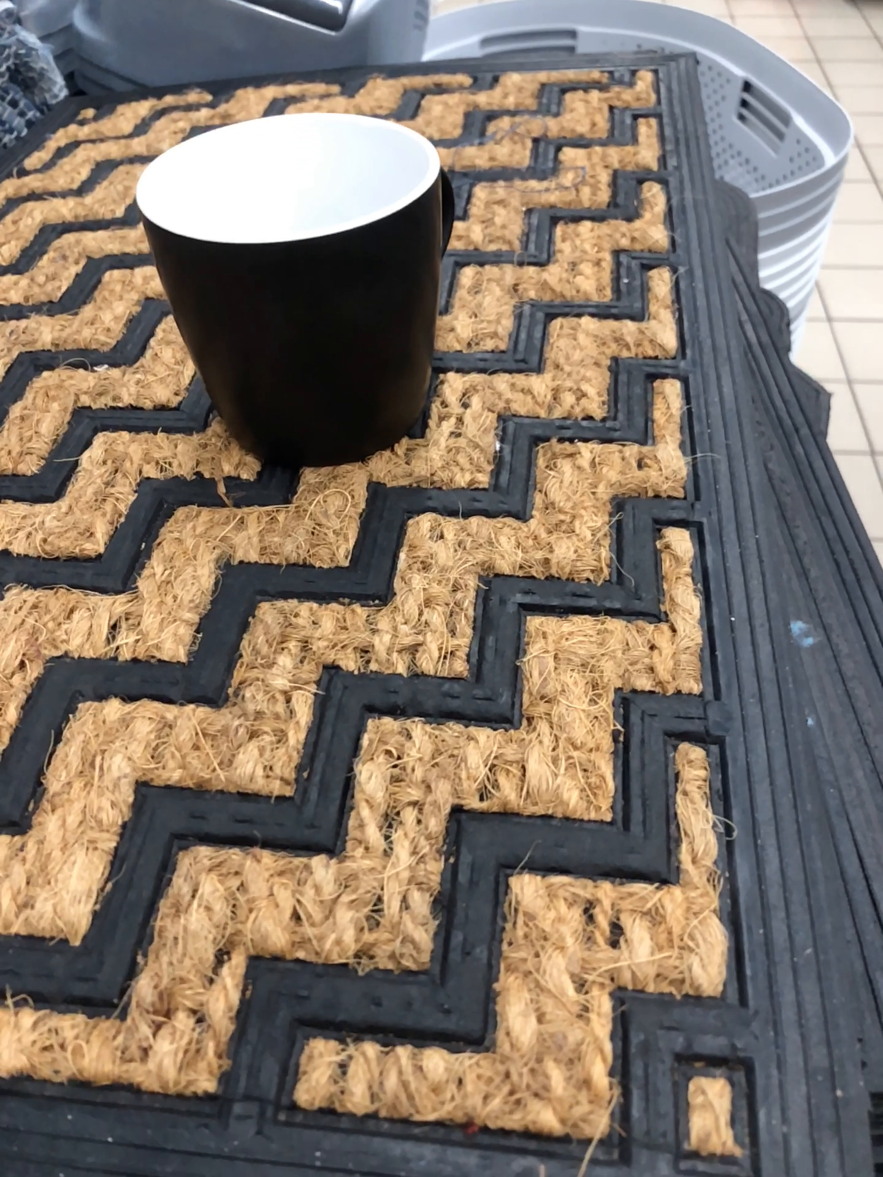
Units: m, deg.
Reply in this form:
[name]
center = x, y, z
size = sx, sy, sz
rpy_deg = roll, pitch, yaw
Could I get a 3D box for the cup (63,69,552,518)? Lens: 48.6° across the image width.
[cup]
center = -0.036, -0.105, 0.328
size = 0.090, 0.081, 0.123
rpy_deg = 28, 53, 27
